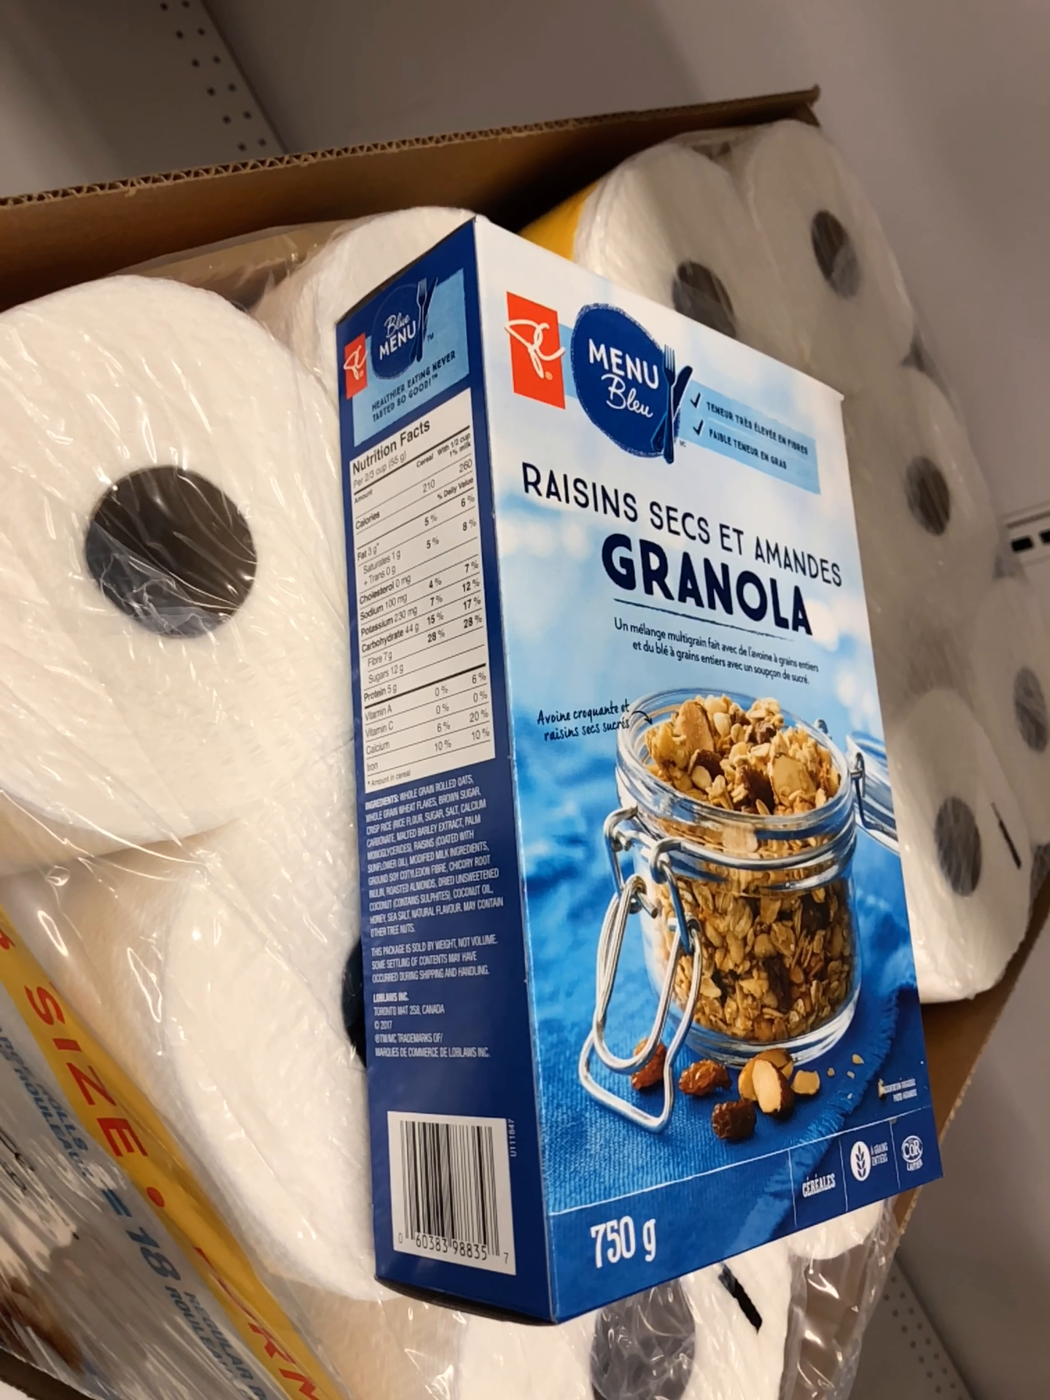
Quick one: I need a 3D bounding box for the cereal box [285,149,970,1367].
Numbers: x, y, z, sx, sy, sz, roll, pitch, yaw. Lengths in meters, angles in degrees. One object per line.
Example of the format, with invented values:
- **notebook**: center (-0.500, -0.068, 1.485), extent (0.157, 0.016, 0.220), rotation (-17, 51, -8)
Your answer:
- **cereal box**: center (0.030, 0.012, 0.315), extent (0.171, 0.060, 0.250), rotation (8, 72, -42)
